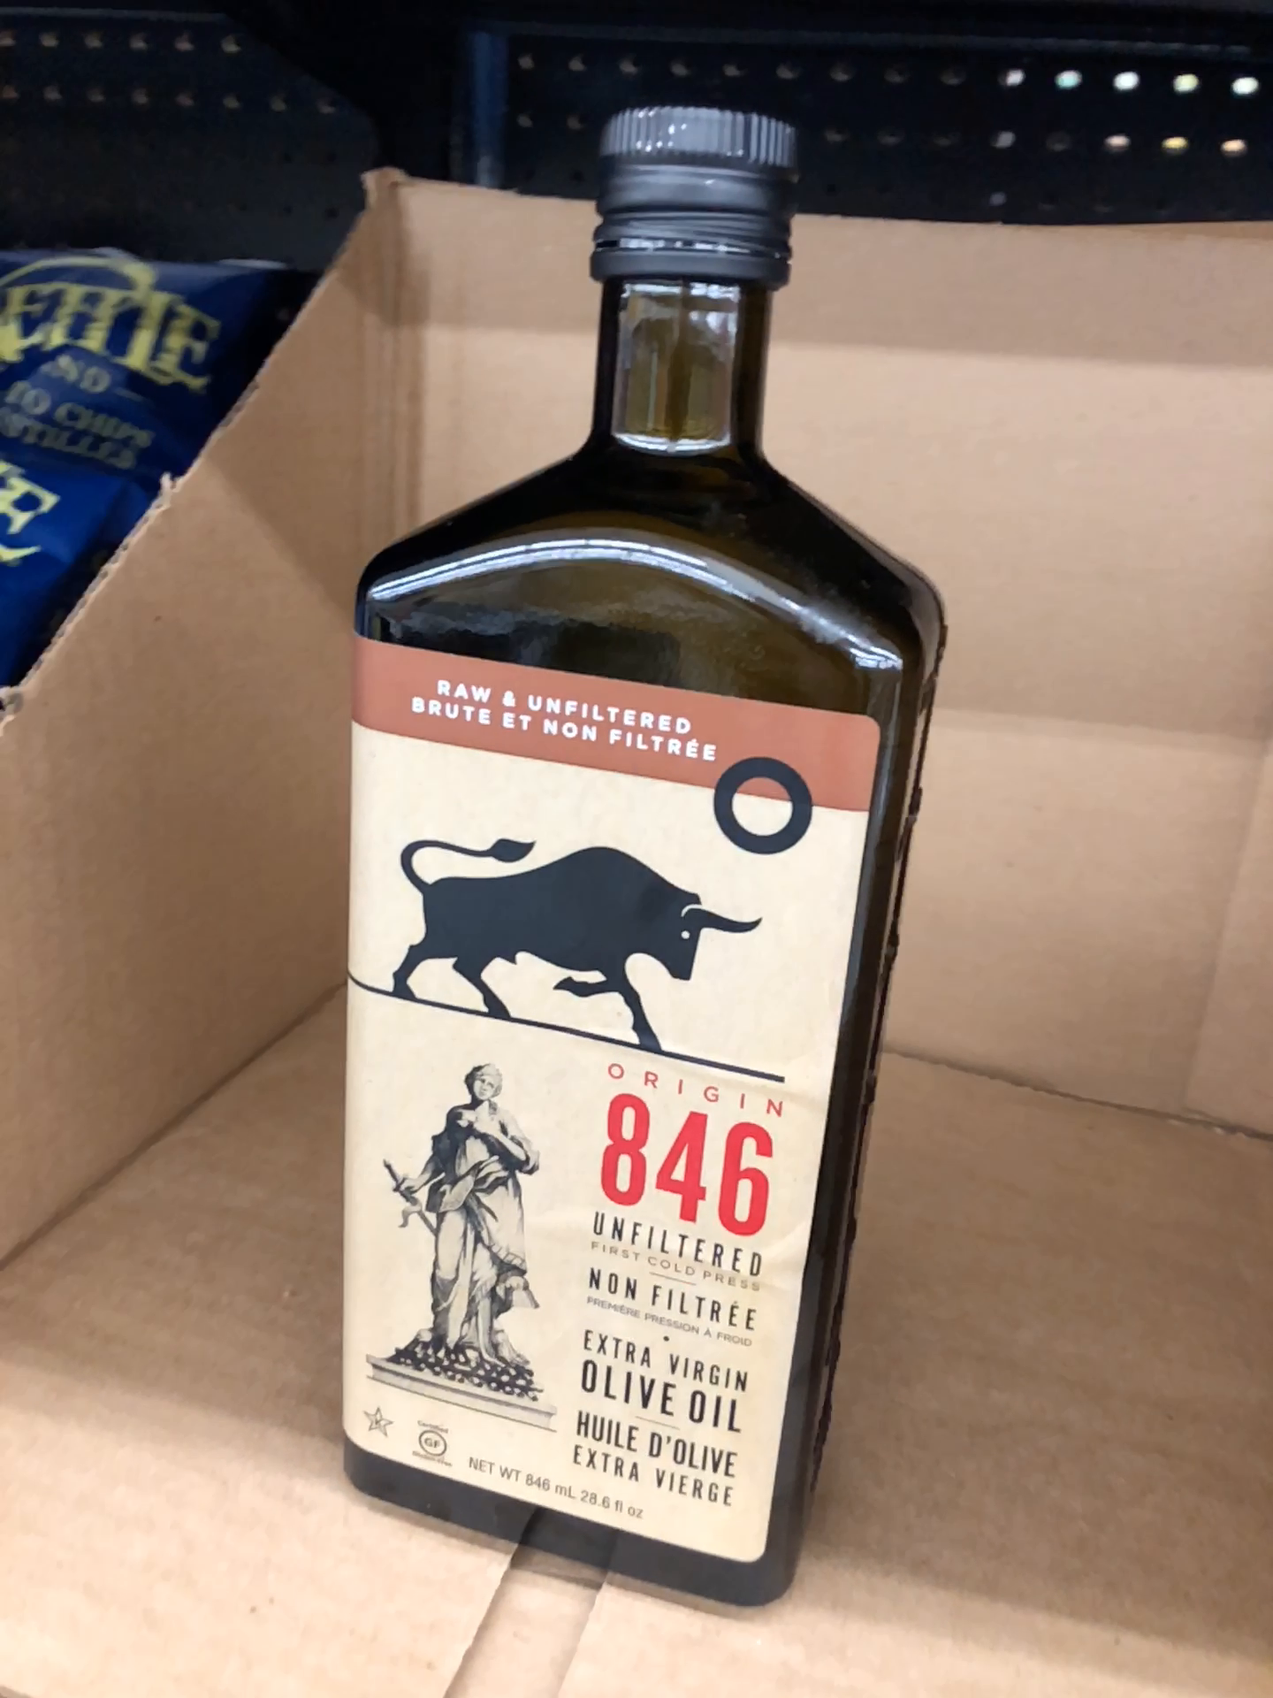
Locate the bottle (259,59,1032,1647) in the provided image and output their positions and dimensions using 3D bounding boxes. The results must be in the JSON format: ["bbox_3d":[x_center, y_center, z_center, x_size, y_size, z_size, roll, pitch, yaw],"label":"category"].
[{"bbox_3d":[-0.003,0.008,0.248,0.100,0.248,0.060,9,21,14],"label":"bottle"}]
